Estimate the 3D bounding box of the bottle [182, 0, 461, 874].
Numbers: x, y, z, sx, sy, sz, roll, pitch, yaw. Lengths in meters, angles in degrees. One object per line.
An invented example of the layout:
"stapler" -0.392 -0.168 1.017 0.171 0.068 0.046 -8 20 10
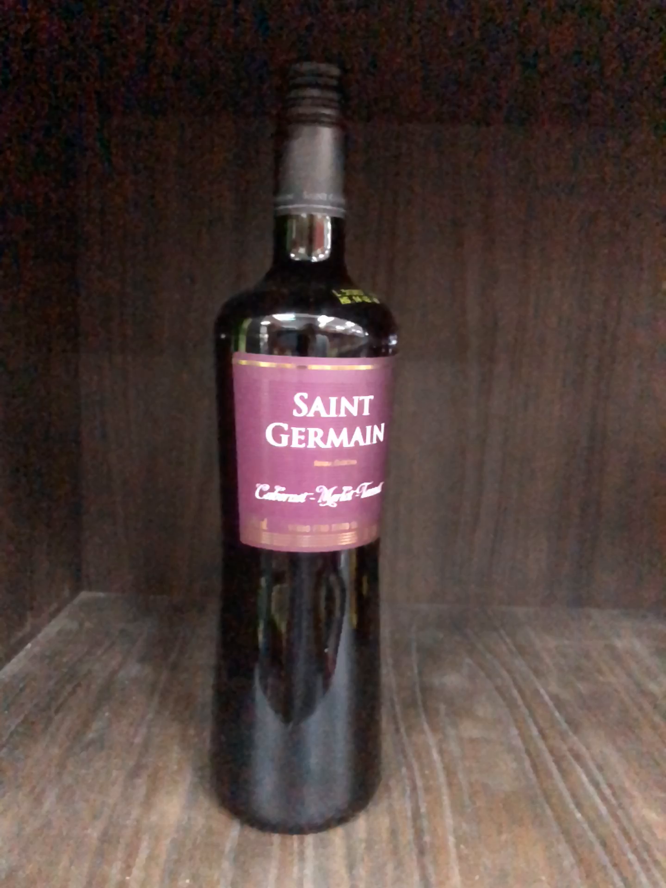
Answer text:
"bottle" -0.010 -0.002 0.302 0.080 0.309 0.070 -2 9 -29
